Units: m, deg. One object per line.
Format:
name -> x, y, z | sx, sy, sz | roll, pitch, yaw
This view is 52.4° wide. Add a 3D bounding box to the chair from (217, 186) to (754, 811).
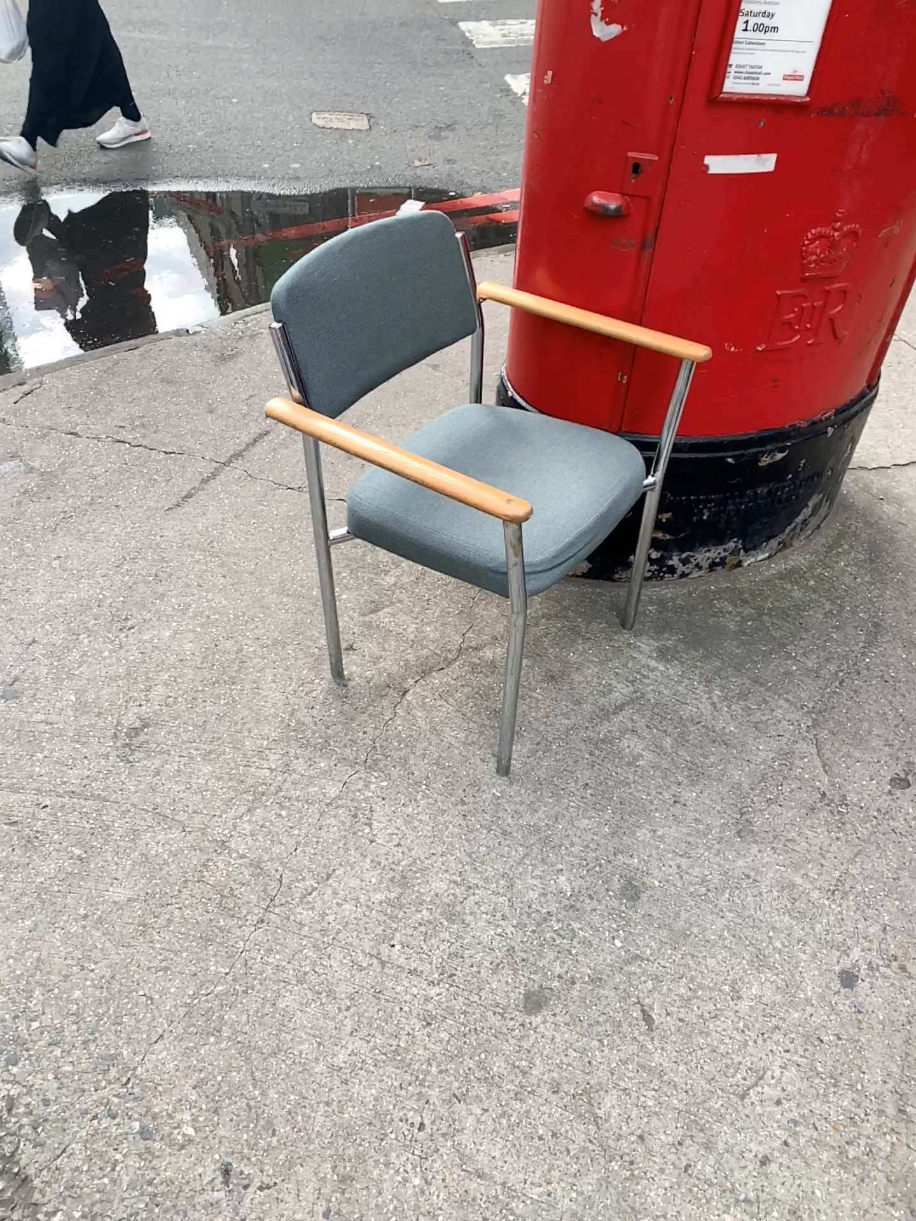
chair -> 0.037, -0.206, 1.603 | 0.572, 0.739, 0.560 | 27, 47, 23
